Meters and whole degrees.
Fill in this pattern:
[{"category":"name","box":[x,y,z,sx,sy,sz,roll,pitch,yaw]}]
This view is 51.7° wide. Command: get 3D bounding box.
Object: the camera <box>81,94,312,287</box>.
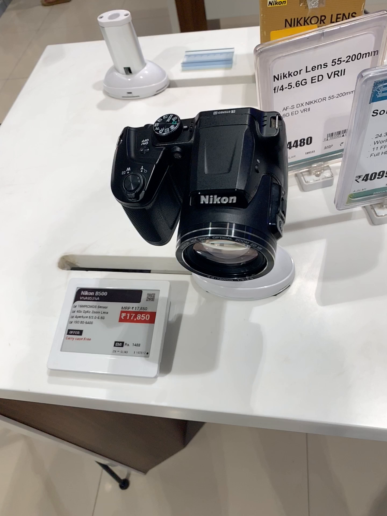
[{"category":"camera","box":[0.009,-0.037,0.240,0.113,0.070,0.083,2,63,12]}]
